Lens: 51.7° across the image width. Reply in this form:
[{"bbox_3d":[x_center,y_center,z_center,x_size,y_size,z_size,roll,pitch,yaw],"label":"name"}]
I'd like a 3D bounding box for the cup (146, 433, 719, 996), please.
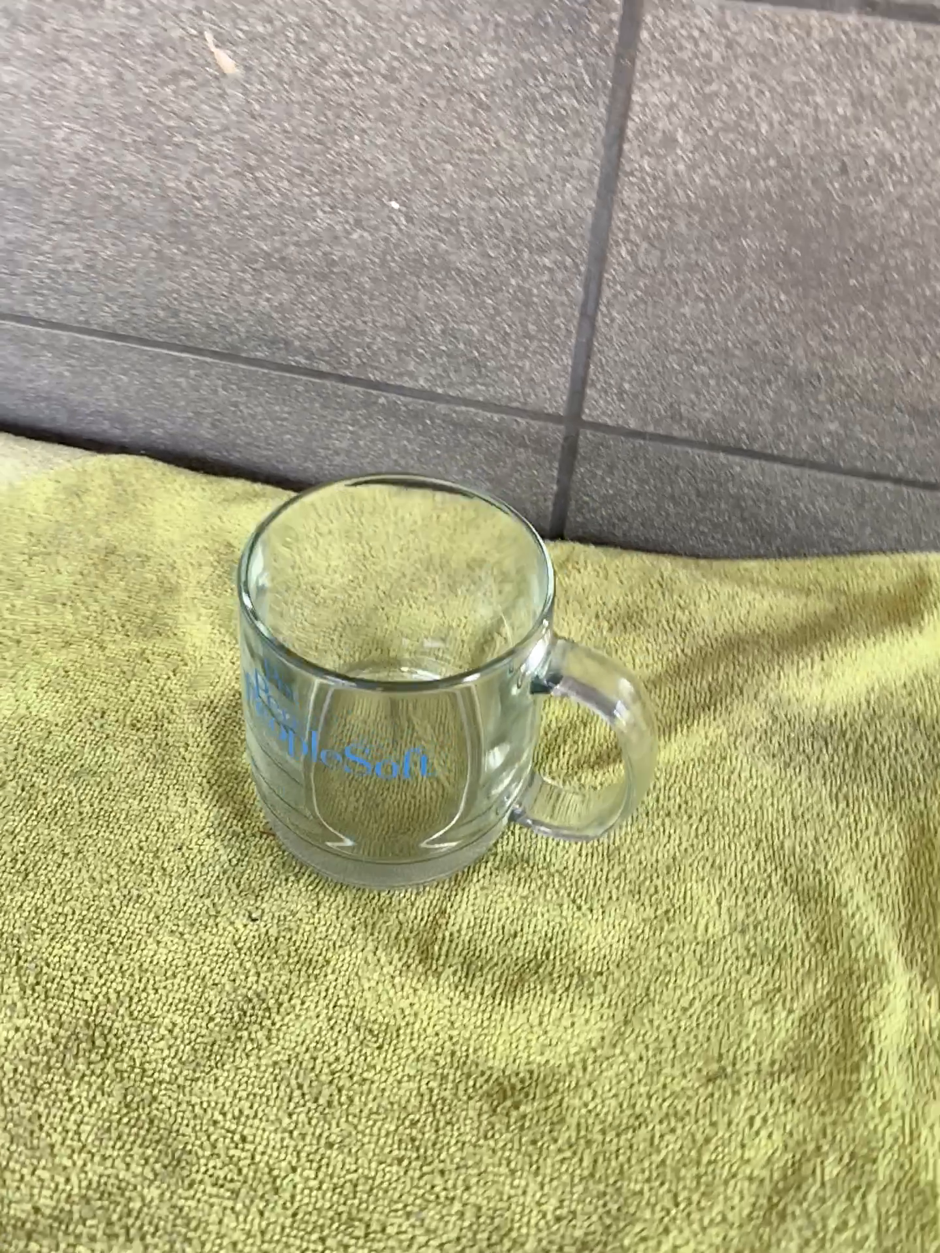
[{"bbox_3d":[-0.008,0.023,0.275,0.120,0.100,0.080,18,45,14],"label":"cup"}]
